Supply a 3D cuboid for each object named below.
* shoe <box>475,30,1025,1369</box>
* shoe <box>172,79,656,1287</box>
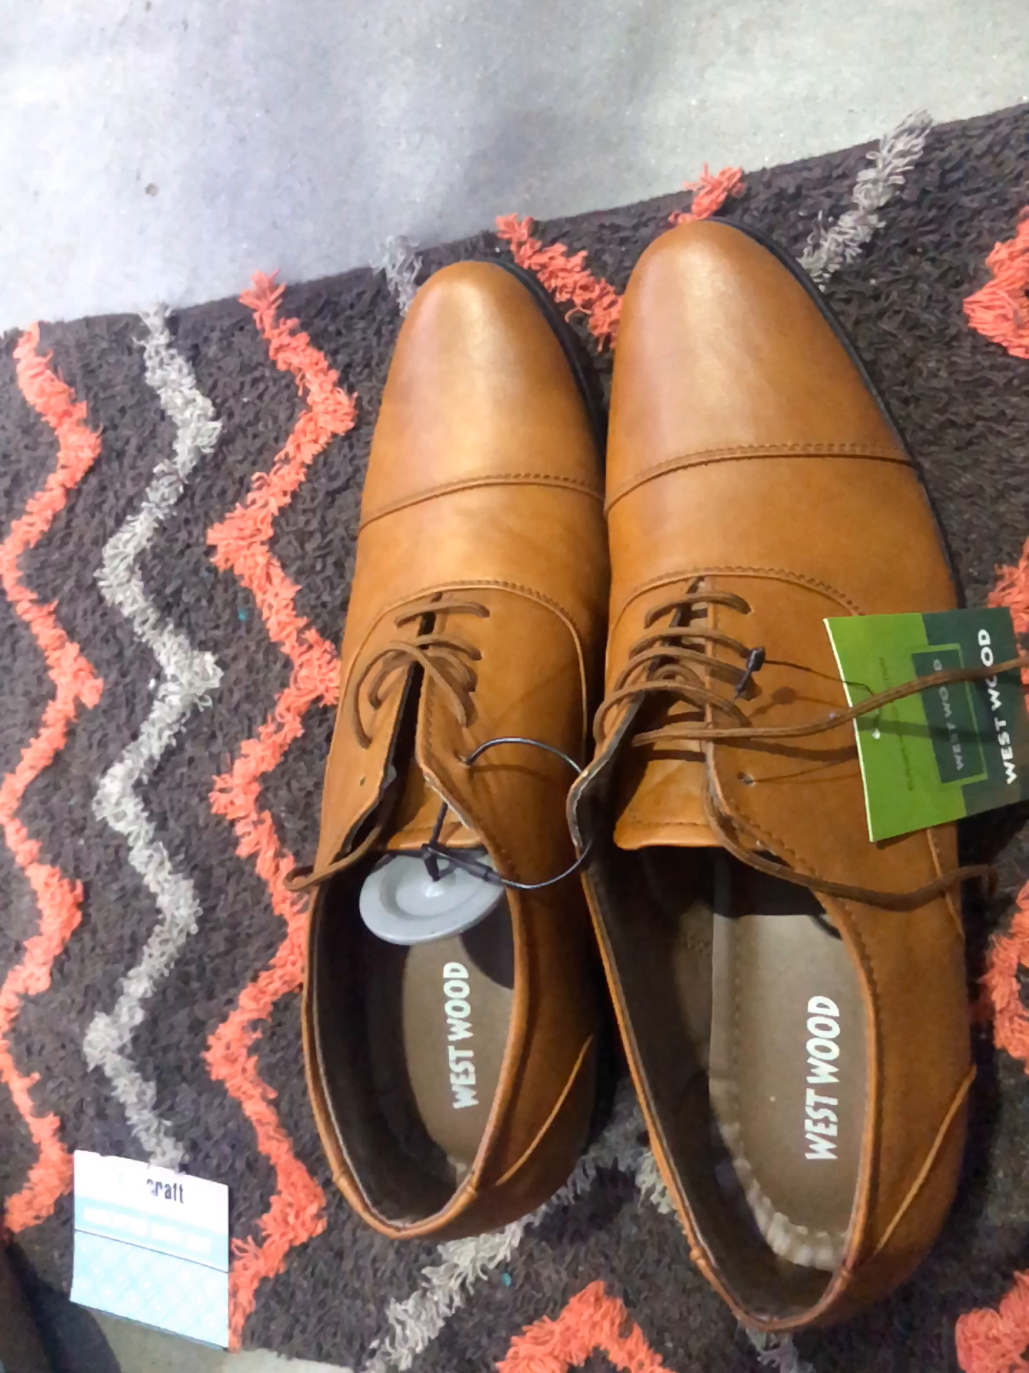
[{"bbox_3d":[0.065,0.002,0.314,0.110,0.080,0.300,-6,84,25],"label":"shoe"},{"bbox_3d":[-0.032,-0.001,0.346,0.110,0.070,0.310,-6,84,25],"label":"shoe"}]
